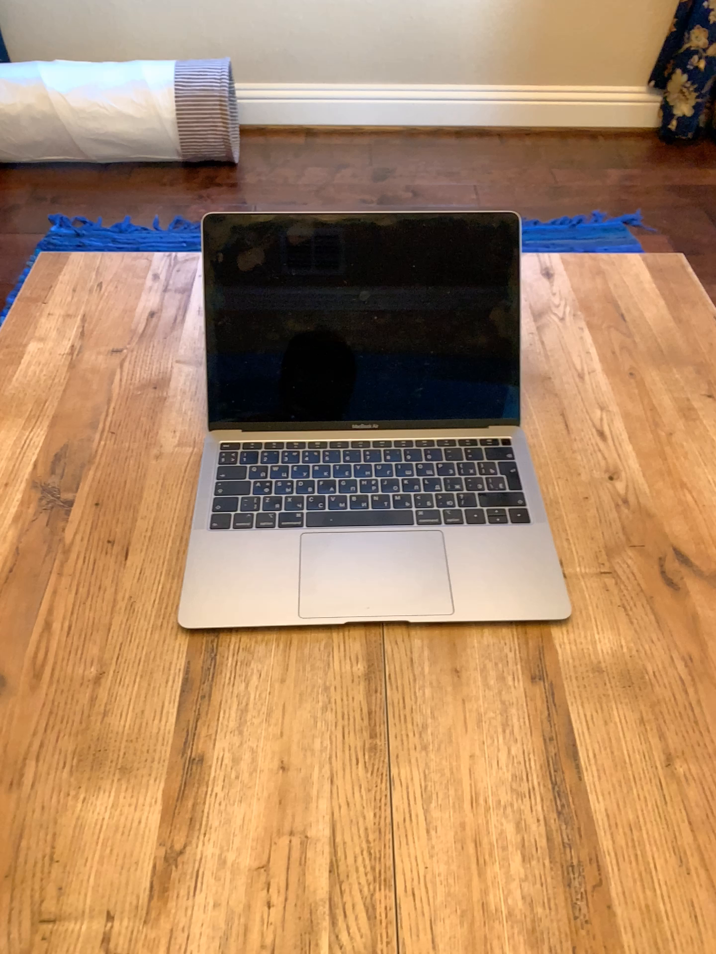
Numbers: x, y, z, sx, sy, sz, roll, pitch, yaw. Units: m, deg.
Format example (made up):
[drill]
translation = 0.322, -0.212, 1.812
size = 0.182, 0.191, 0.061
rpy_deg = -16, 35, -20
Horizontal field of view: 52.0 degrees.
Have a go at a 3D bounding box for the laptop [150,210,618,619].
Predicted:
[laptop]
translation = 0.015, -0.073, 0.627
size = 0.290, 0.141, 0.354
rpy_deg = 0, 47, -1
